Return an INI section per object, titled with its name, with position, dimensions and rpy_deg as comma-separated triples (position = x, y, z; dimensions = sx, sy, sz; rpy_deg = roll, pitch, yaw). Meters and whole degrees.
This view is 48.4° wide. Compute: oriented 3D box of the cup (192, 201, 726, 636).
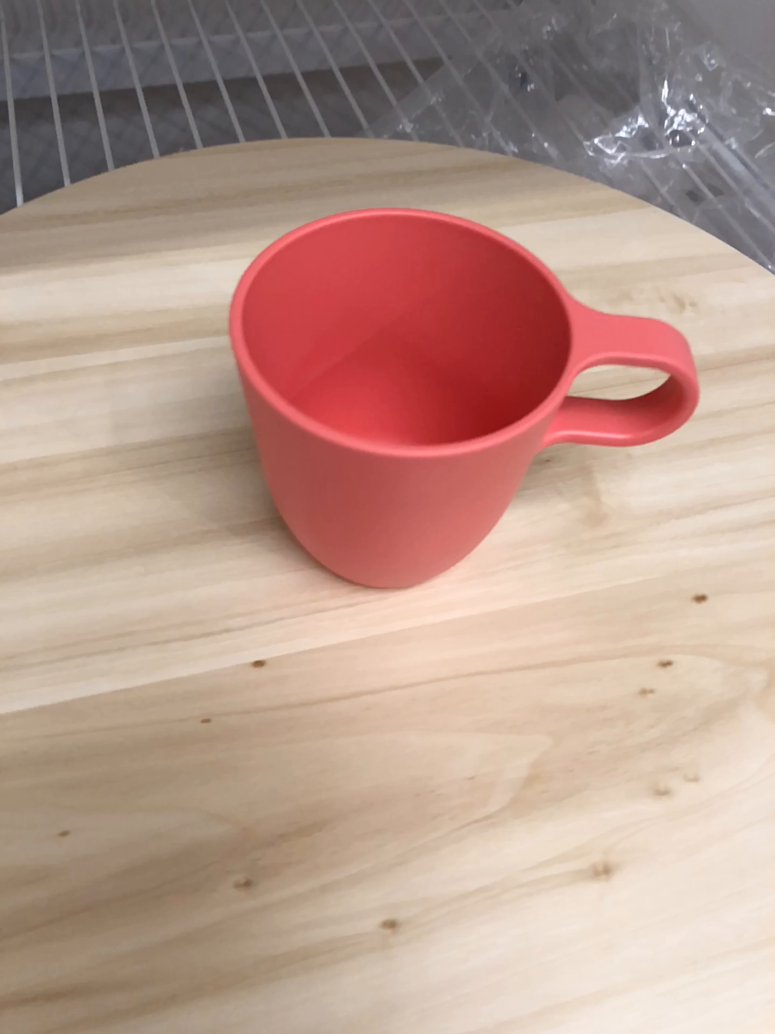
[cup]
position = 0.014, -0.024, 0.233
dimensions = 0.110, 0.080, 0.080
rpy_deg = 2, 53, -2
